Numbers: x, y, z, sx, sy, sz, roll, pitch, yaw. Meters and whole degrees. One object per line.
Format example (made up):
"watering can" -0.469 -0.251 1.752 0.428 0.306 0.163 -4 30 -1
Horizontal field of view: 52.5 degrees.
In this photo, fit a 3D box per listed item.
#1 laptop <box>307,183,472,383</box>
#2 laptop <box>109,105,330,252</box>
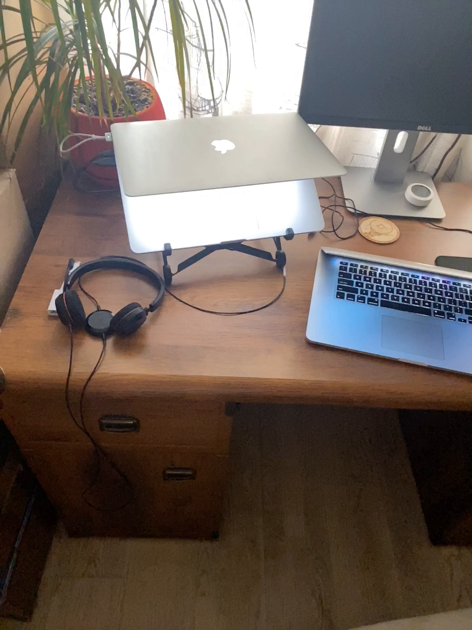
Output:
"laptop" 0.324 -0.062 0.816 0.355 0.152 0.236 12 49 6
"laptop" -0.029 -0.255 0.860 0.355 0.022 0.243 -9 74 -12
